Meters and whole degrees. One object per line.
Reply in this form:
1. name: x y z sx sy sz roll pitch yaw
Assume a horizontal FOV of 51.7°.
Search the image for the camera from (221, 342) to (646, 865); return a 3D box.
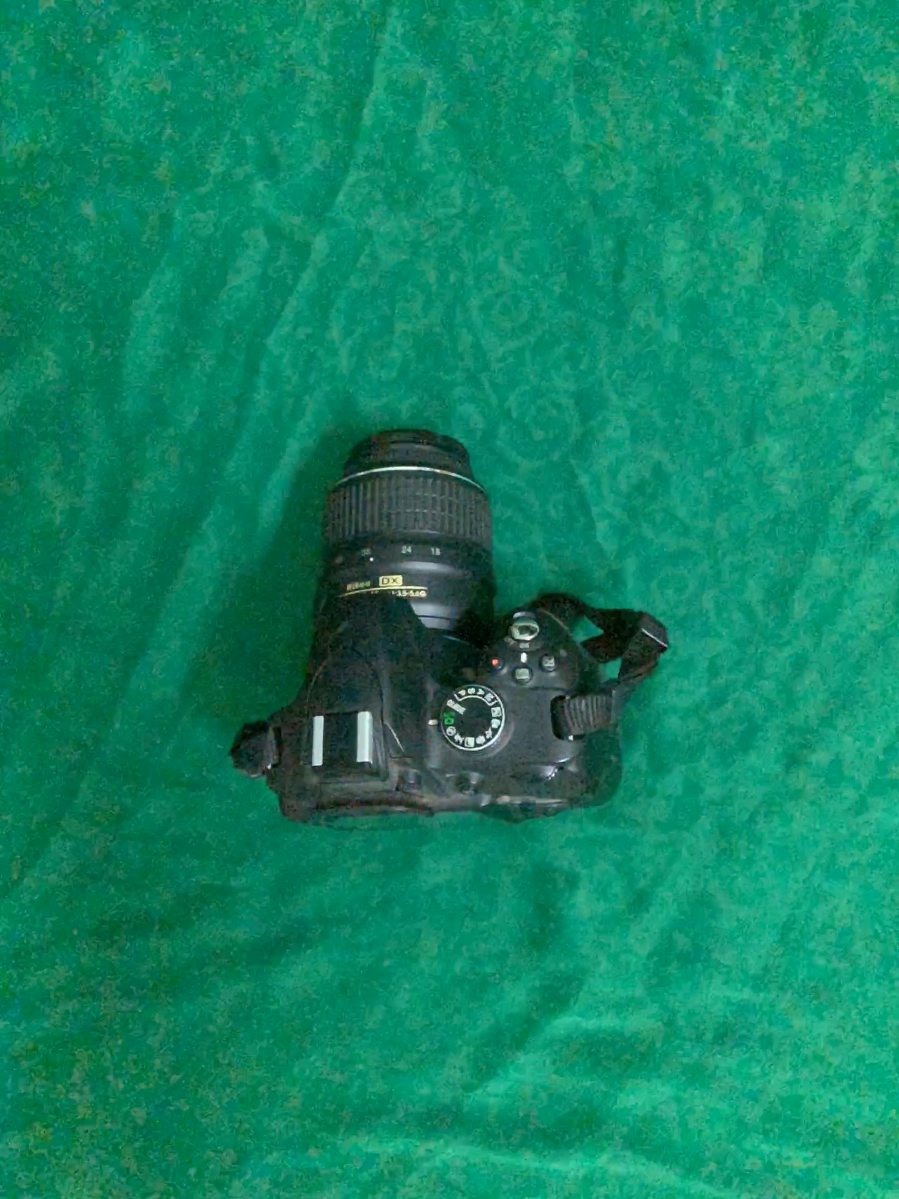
1. camera: -0.004 0.012 0.362 0.133 0.100 0.166 -8 75 15
